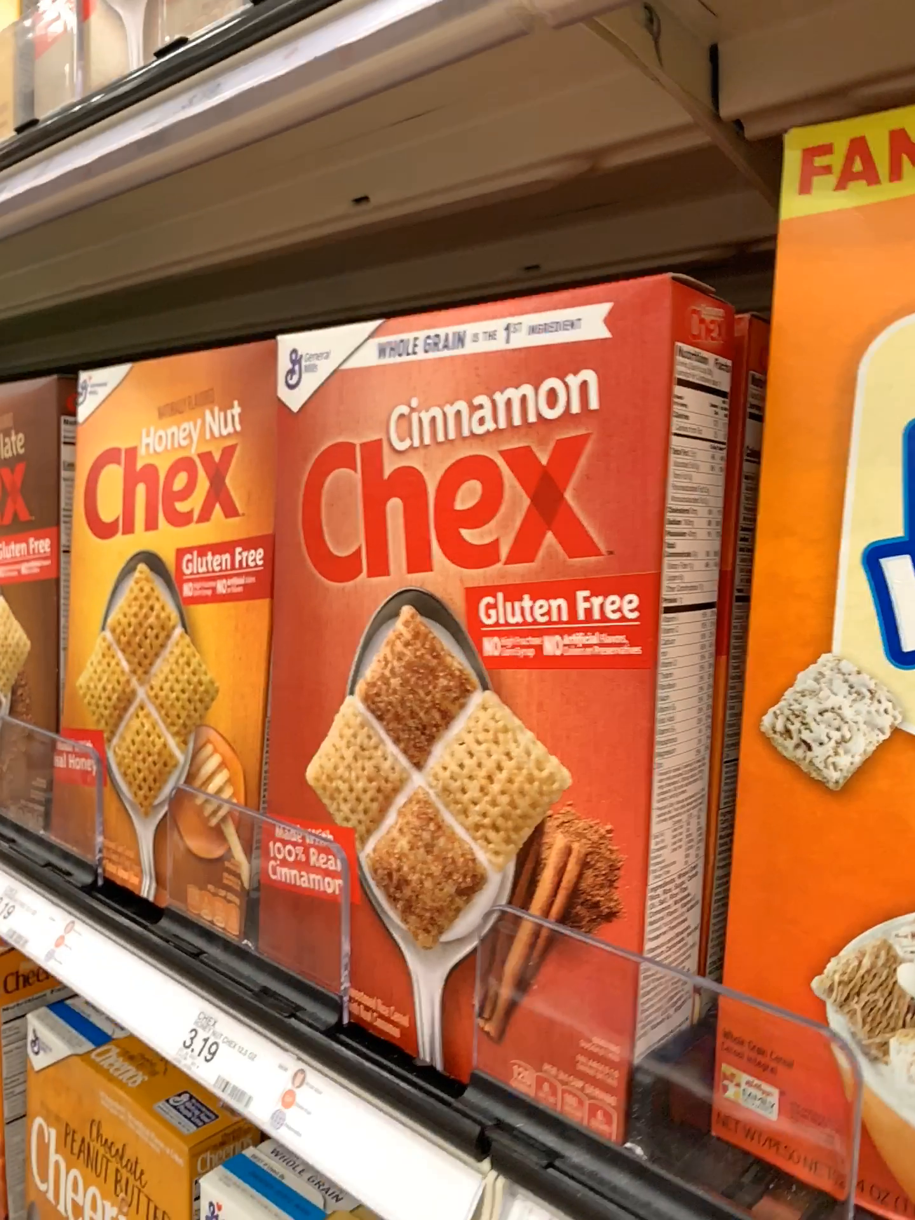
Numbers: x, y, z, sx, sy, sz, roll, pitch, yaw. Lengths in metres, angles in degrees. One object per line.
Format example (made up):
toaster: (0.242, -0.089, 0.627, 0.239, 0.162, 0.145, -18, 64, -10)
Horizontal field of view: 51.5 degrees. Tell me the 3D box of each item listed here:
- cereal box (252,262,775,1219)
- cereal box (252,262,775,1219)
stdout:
cereal box: (0.007, 0.036, 0.379, 0.200, 0.300, 0.060, 7, 6, 42)
cereal box: (0.007, 0.036, 0.379, 0.200, 0.300, 0.060, 7, 6, 42)
